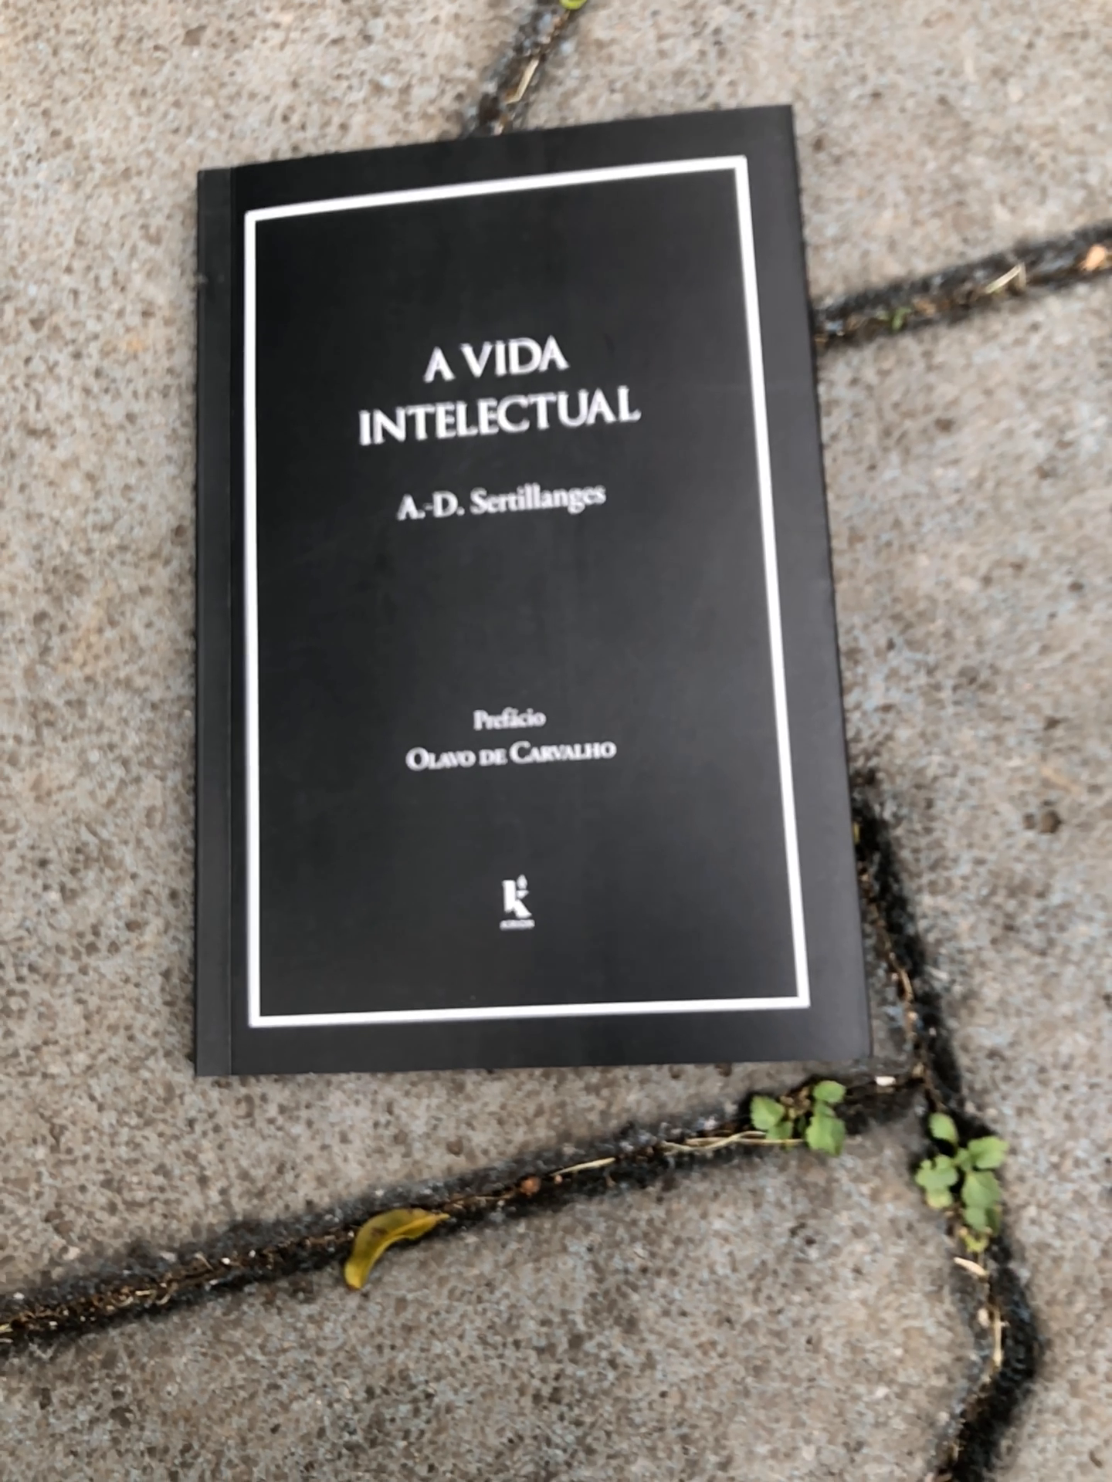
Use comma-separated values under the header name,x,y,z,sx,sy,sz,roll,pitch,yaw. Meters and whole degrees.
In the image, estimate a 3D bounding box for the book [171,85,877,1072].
name,x,y,z,sx,sy,sz,roll,pitch,yaw
book,-0.011,-0.034,0.263,0.136,0.020,0.196,-3,81,7
